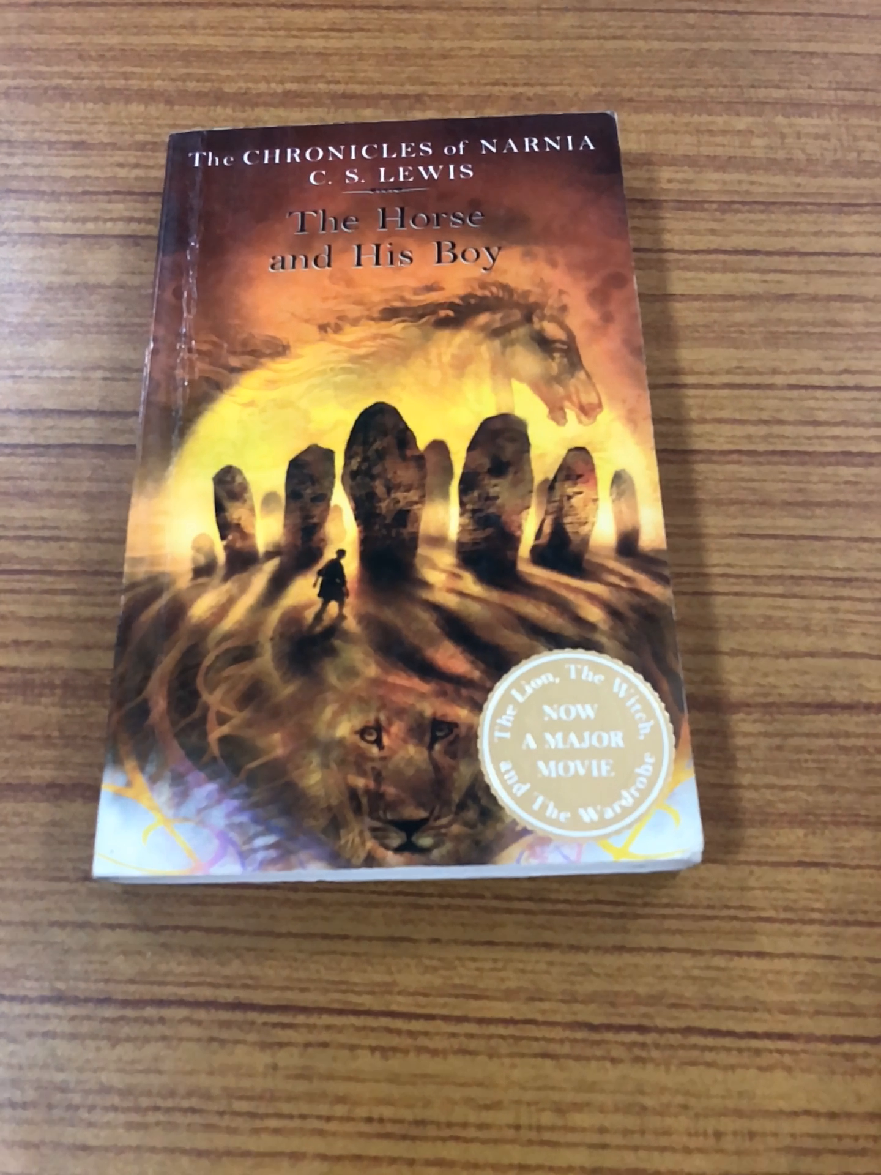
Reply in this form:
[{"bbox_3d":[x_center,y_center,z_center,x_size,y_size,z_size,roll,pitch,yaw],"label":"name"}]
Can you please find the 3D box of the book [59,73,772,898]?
[{"bbox_3d":[-0.006,-0.031,0.207,0.120,0.020,0.180,-1,69,1],"label":"book"}]
